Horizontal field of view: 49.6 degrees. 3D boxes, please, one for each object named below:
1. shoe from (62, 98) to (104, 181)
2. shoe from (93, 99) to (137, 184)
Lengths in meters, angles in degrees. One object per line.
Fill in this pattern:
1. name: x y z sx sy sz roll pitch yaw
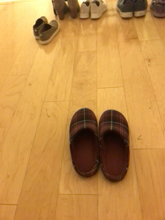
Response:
1. shoe: 0.001 0.089 0.626 0.120 0.070 0.282 -5 50 4
2. shoe: 0.104 0.092 0.605 0.120 0.070 0.282 -1 51 8
